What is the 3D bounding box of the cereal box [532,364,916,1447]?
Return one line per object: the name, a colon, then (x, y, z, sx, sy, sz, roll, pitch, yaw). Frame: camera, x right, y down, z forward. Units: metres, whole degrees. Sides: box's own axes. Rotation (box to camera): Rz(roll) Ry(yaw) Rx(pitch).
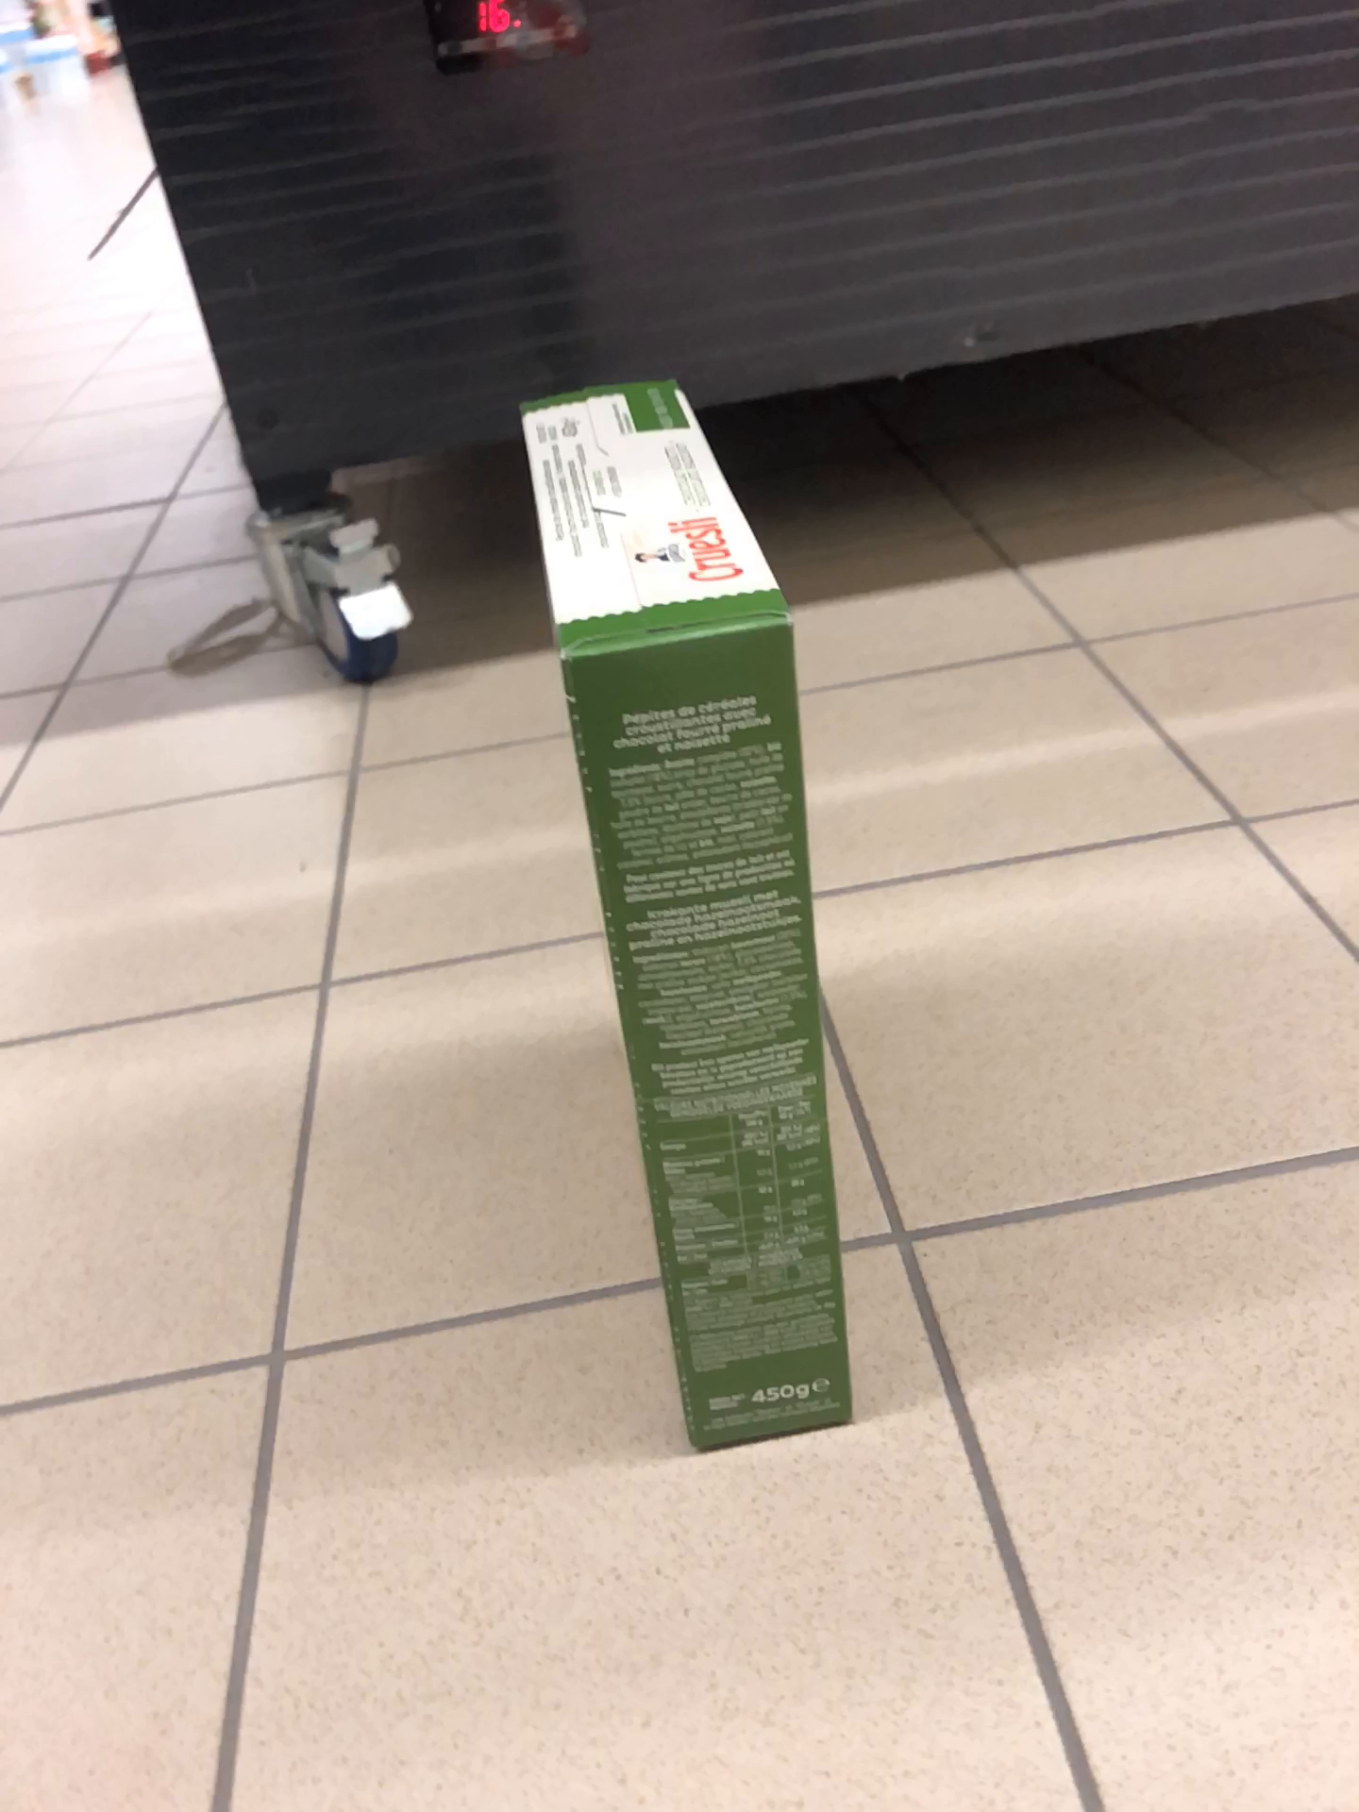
cereal box: (0.011, -0.006, 0.430, 0.060, 0.239, 0.191, -9, 33, -1)
